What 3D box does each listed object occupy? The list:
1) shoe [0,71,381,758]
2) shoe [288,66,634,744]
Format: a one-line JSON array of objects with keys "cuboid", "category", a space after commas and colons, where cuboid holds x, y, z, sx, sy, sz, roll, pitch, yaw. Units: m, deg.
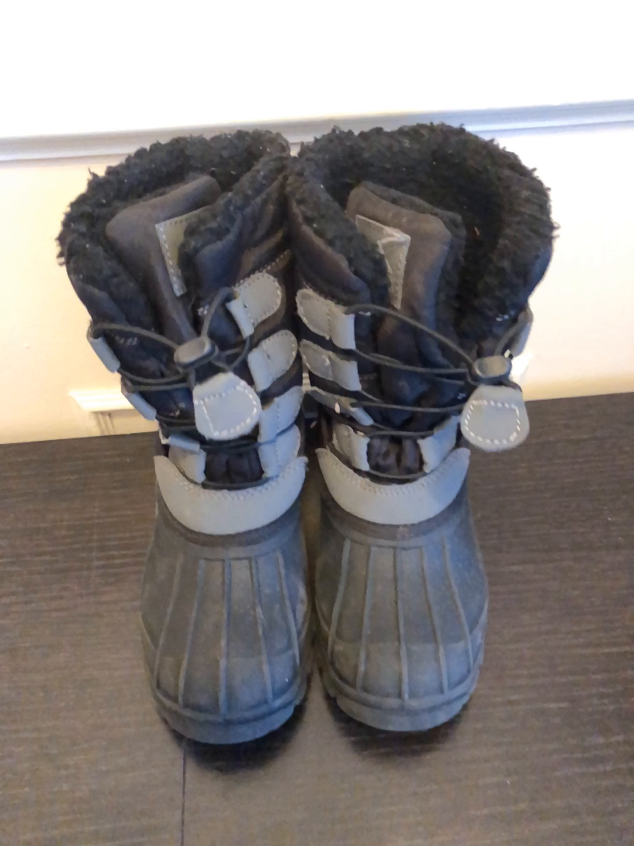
[{"cuboid": [-0.040, -0.005, 0.315, 0.100, 0.209, 0.222, -3, 47, -2], "category": "shoe"}, {"cuboid": [0.045, -0.009, 0.319, 0.100, 0.209, 0.222, -3, 47, -2], "category": "shoe"}]
